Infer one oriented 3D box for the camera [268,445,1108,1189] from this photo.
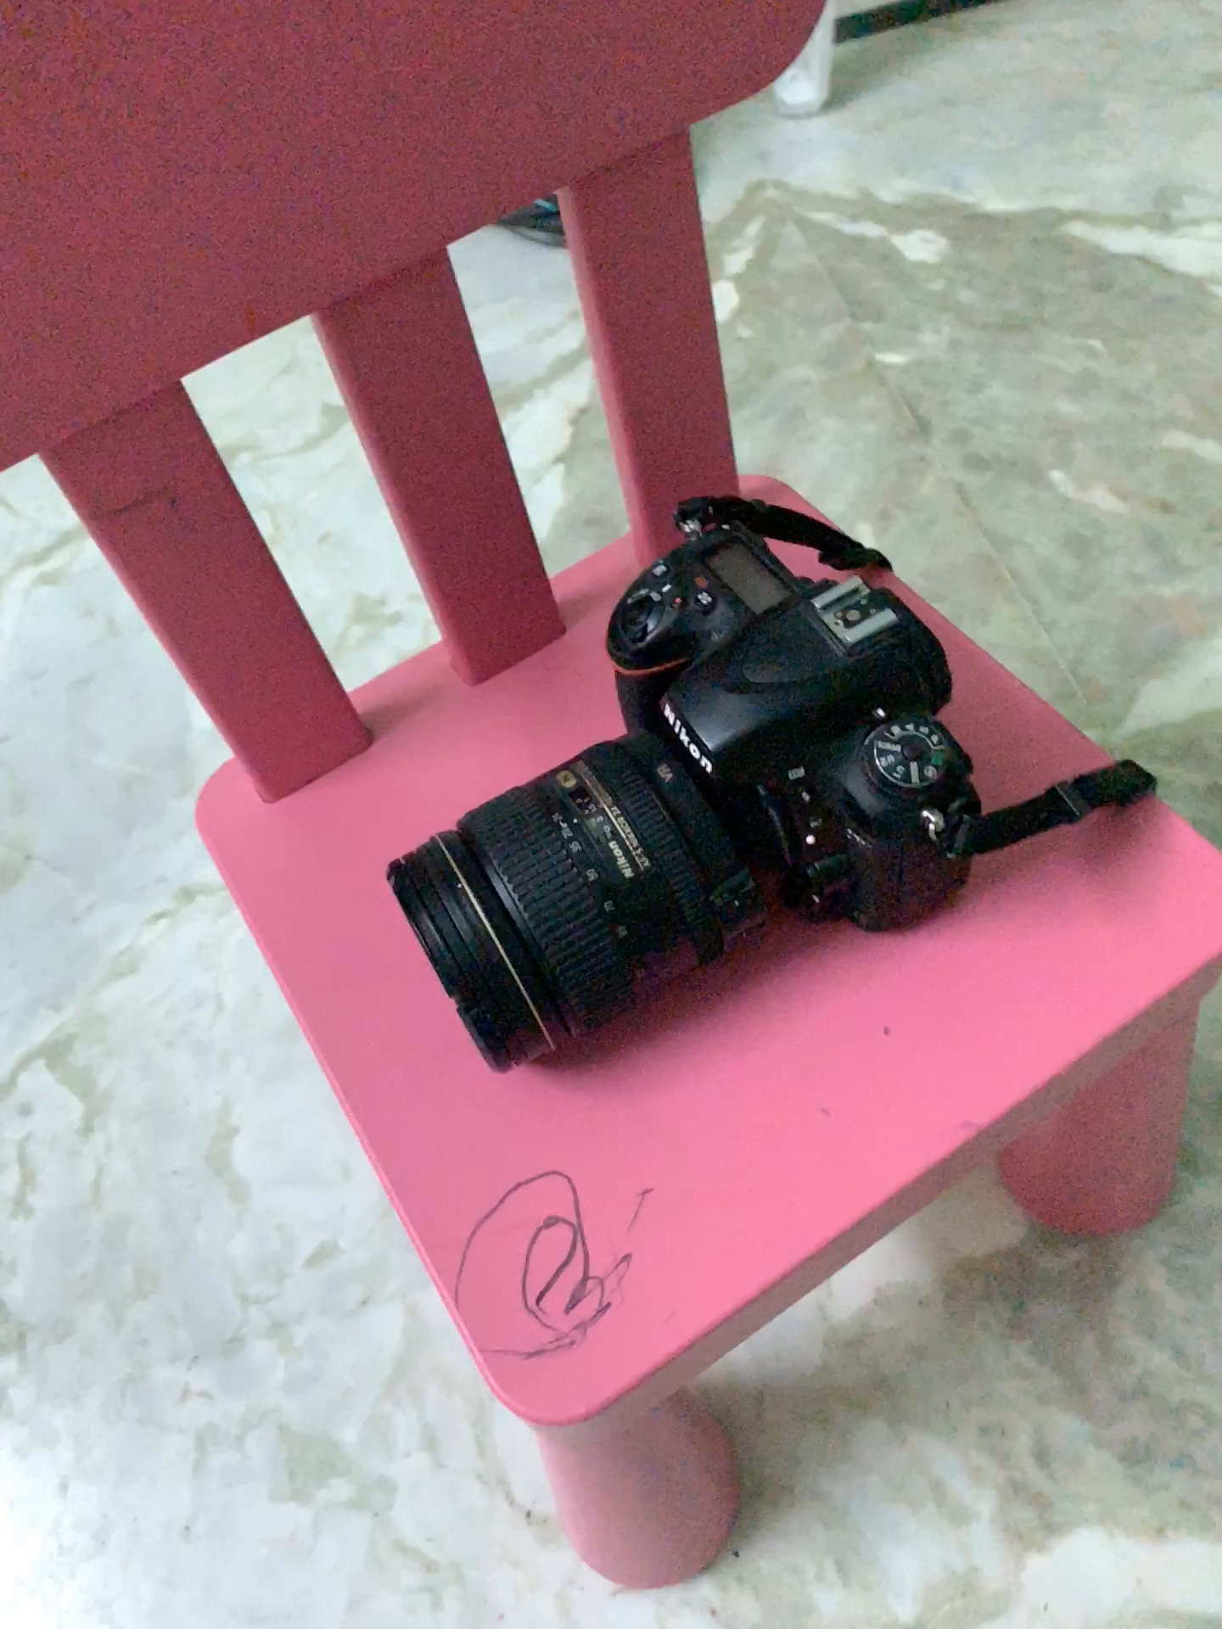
[{"bbox_3d":[0.023,-0.005,0.411,0.210,0.080,0.140,-30,59,-10],"label":"camera"}]
